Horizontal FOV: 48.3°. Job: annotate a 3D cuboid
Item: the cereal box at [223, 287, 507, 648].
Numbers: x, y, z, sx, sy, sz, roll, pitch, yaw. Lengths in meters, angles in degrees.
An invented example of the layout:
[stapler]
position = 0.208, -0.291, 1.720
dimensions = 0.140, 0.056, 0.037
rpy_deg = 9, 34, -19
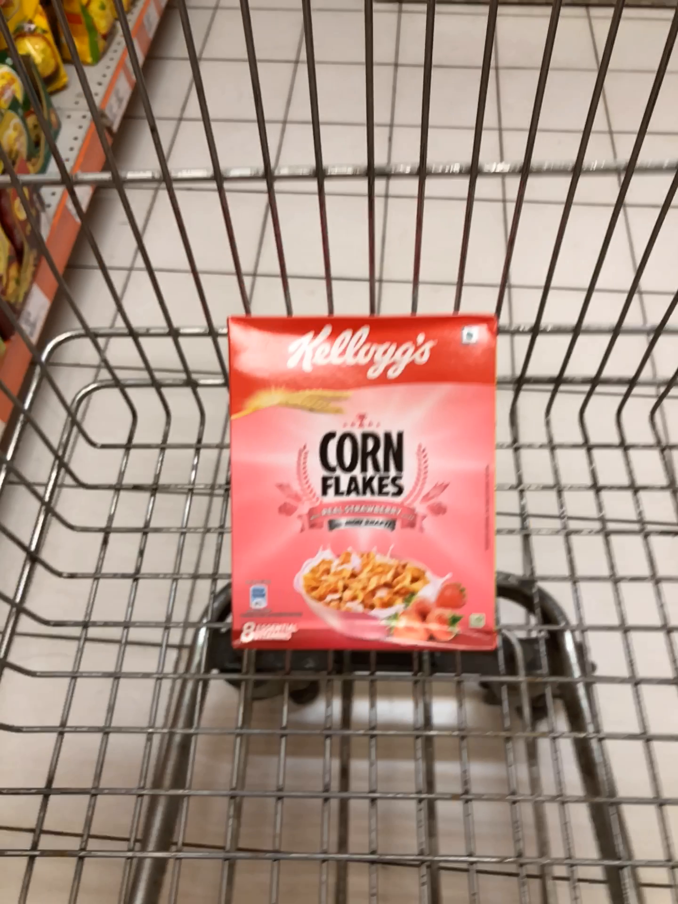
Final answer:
[cereal box]
position = 0.013, 0.007, 0.403
dimensions = 0.140, 0.050, 0.180
rpy_deg = 0, 93, 2
